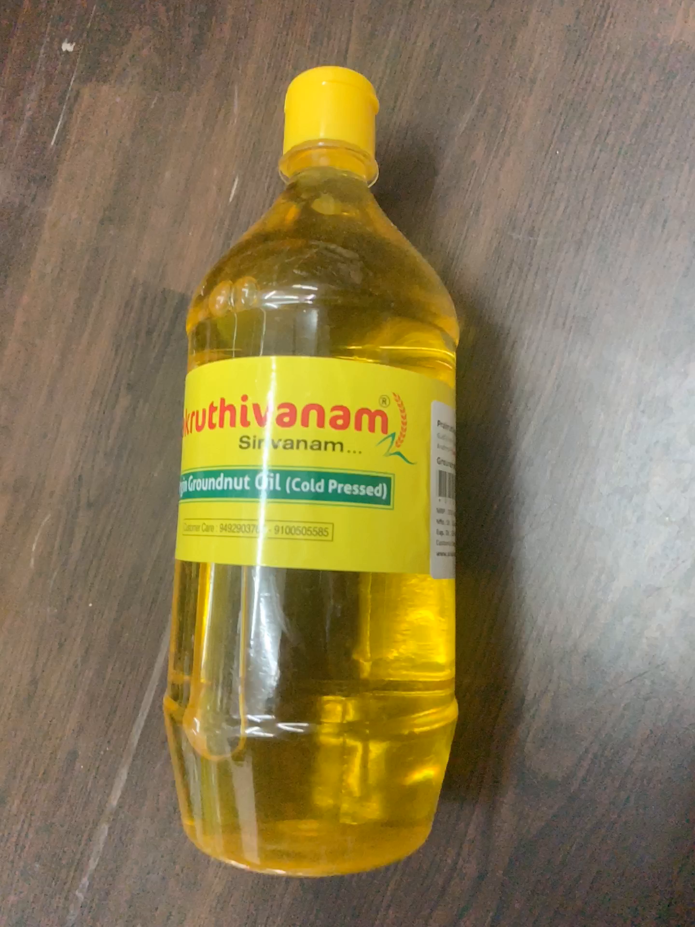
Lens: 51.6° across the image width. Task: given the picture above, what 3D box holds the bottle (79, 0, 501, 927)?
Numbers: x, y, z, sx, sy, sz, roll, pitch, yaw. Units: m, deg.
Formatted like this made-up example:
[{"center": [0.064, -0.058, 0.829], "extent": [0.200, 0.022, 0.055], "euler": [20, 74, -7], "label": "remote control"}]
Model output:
[{"center": [-0.010, -0.023, 0.223], "extent": [0.090, 0.080, 0.260], "euler": [-2, 82, 29], "label": "bottle"}]
